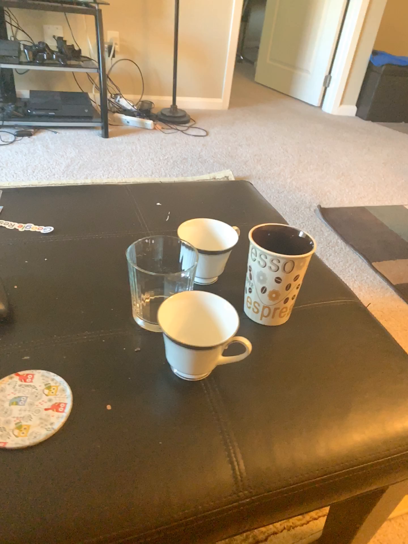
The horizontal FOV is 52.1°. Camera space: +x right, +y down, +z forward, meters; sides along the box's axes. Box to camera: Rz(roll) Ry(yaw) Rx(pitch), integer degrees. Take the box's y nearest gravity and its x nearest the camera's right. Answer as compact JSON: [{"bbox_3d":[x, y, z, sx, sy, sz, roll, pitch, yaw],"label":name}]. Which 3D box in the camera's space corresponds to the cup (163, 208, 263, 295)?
[{"bbox_3d":[0.011,-0.034,0.620,0.110,0.070,0.090,-19,43,-31],"label":"cup"}]

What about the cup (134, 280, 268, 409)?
[{"bbox_3d":[-0.002,0.077,0.476,0.120,0.060,0.100,16,37,12],"label":"cup"}]

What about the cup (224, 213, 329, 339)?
[{"bbox_3d":[0.097,0.003,0.560,0.100,0.109,0.100,5,36,-4],"label":"cup"}]

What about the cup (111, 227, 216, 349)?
[{"bbox_3d":[-0.053,0.018,0.557,0.100,0.099,0.100,5,36,-4],"label":"cup"}]
